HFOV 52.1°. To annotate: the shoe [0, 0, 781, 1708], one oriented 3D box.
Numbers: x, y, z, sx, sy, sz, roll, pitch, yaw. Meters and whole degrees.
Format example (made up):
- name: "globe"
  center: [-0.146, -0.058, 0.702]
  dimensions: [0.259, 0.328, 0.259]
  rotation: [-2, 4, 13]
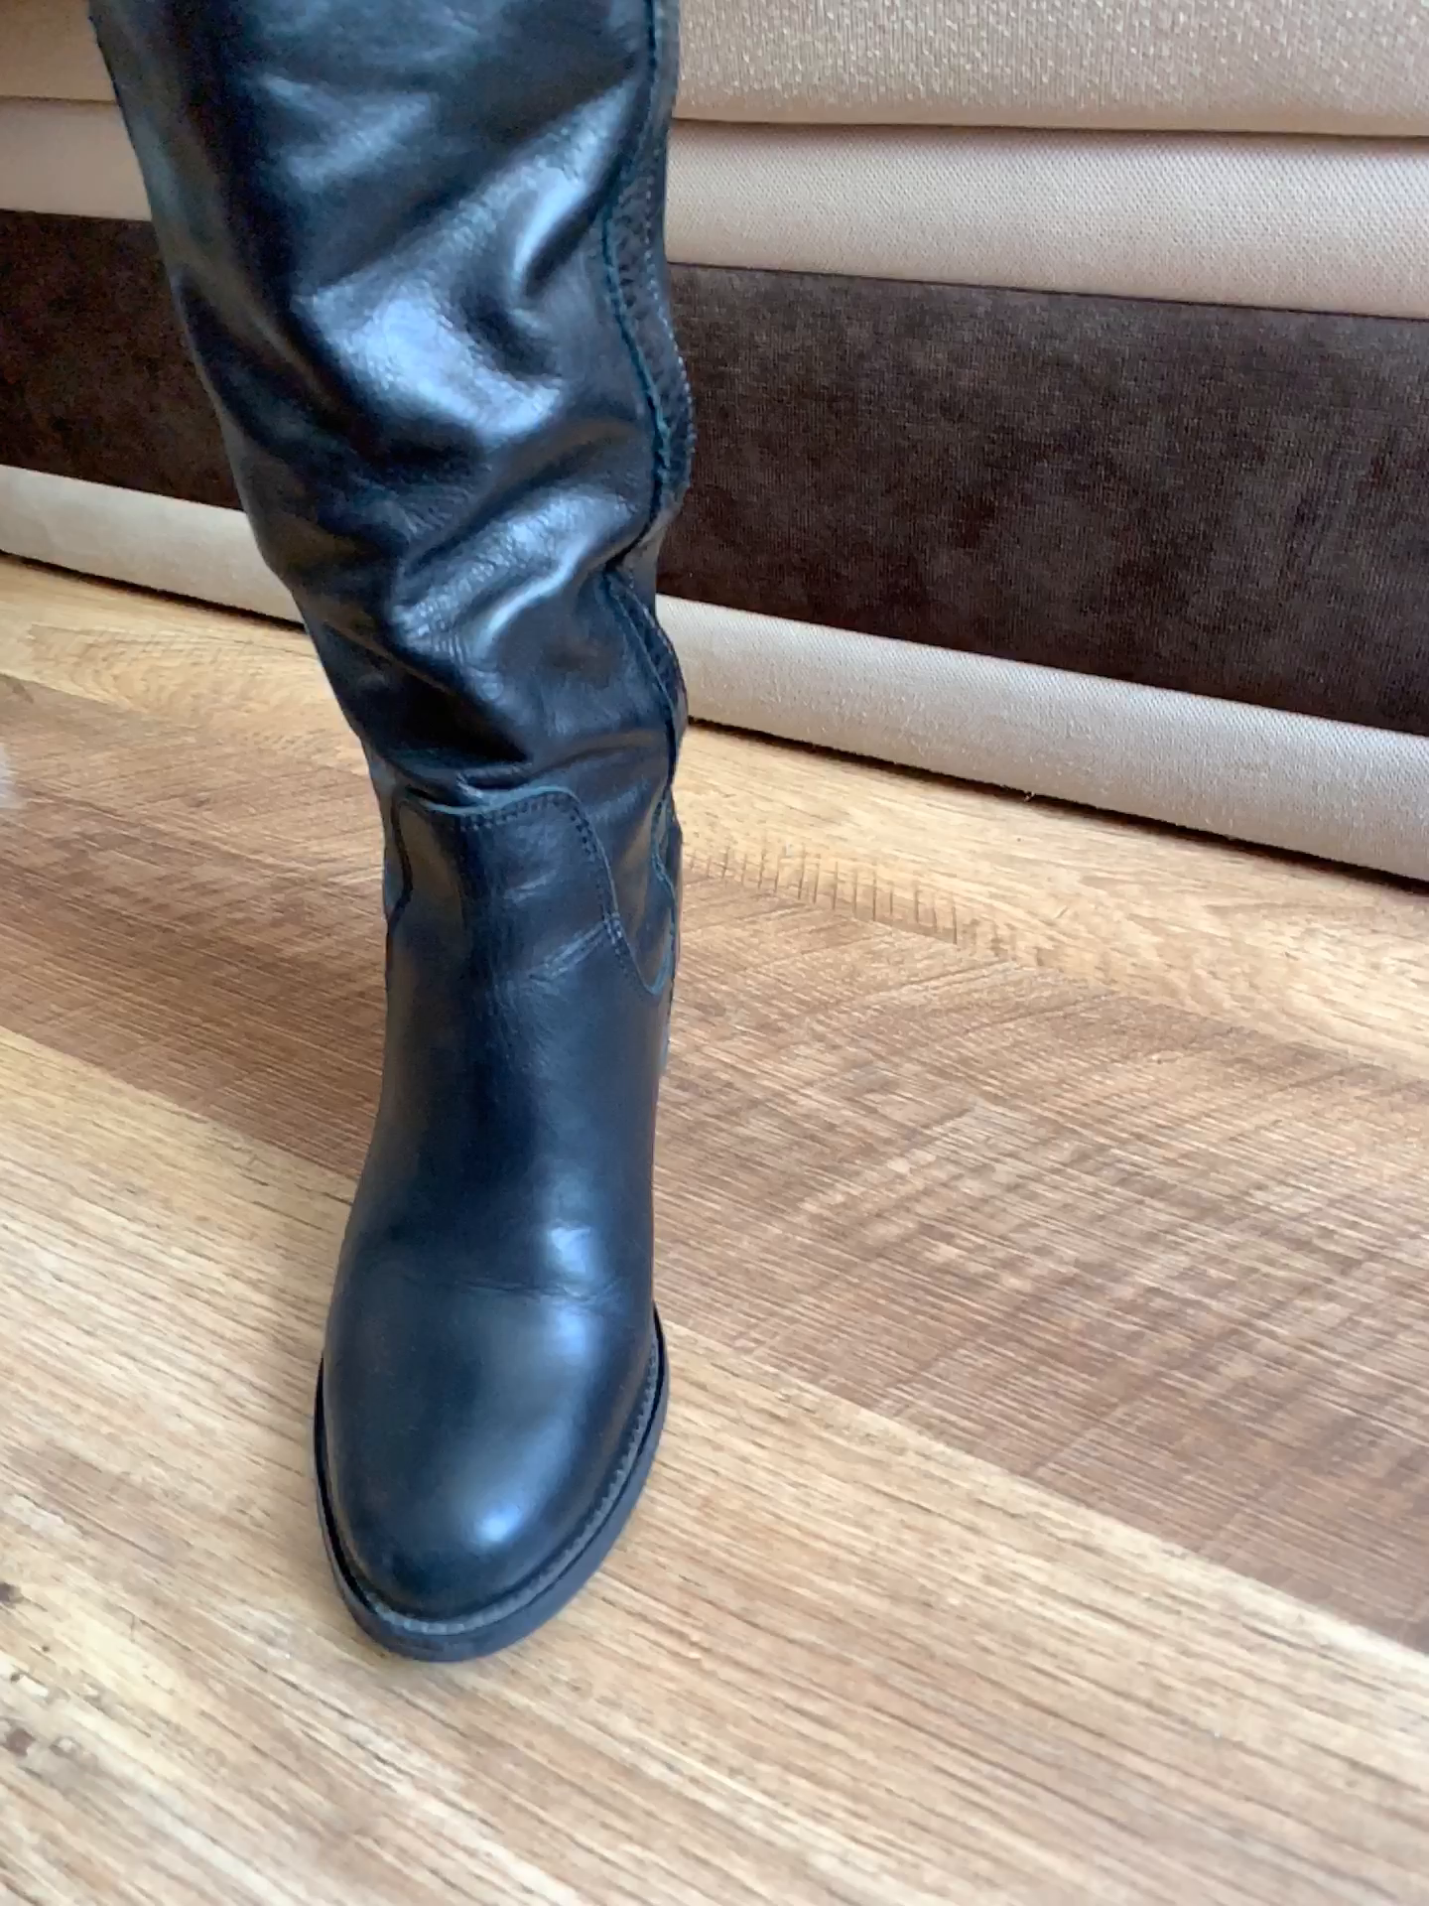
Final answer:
- name: "shoe"
  center: [-0.048, -0.119, 0.230]
  dimensions: [0.100, 0.497, 0.211]
  rotation: [2, 36, 6]
